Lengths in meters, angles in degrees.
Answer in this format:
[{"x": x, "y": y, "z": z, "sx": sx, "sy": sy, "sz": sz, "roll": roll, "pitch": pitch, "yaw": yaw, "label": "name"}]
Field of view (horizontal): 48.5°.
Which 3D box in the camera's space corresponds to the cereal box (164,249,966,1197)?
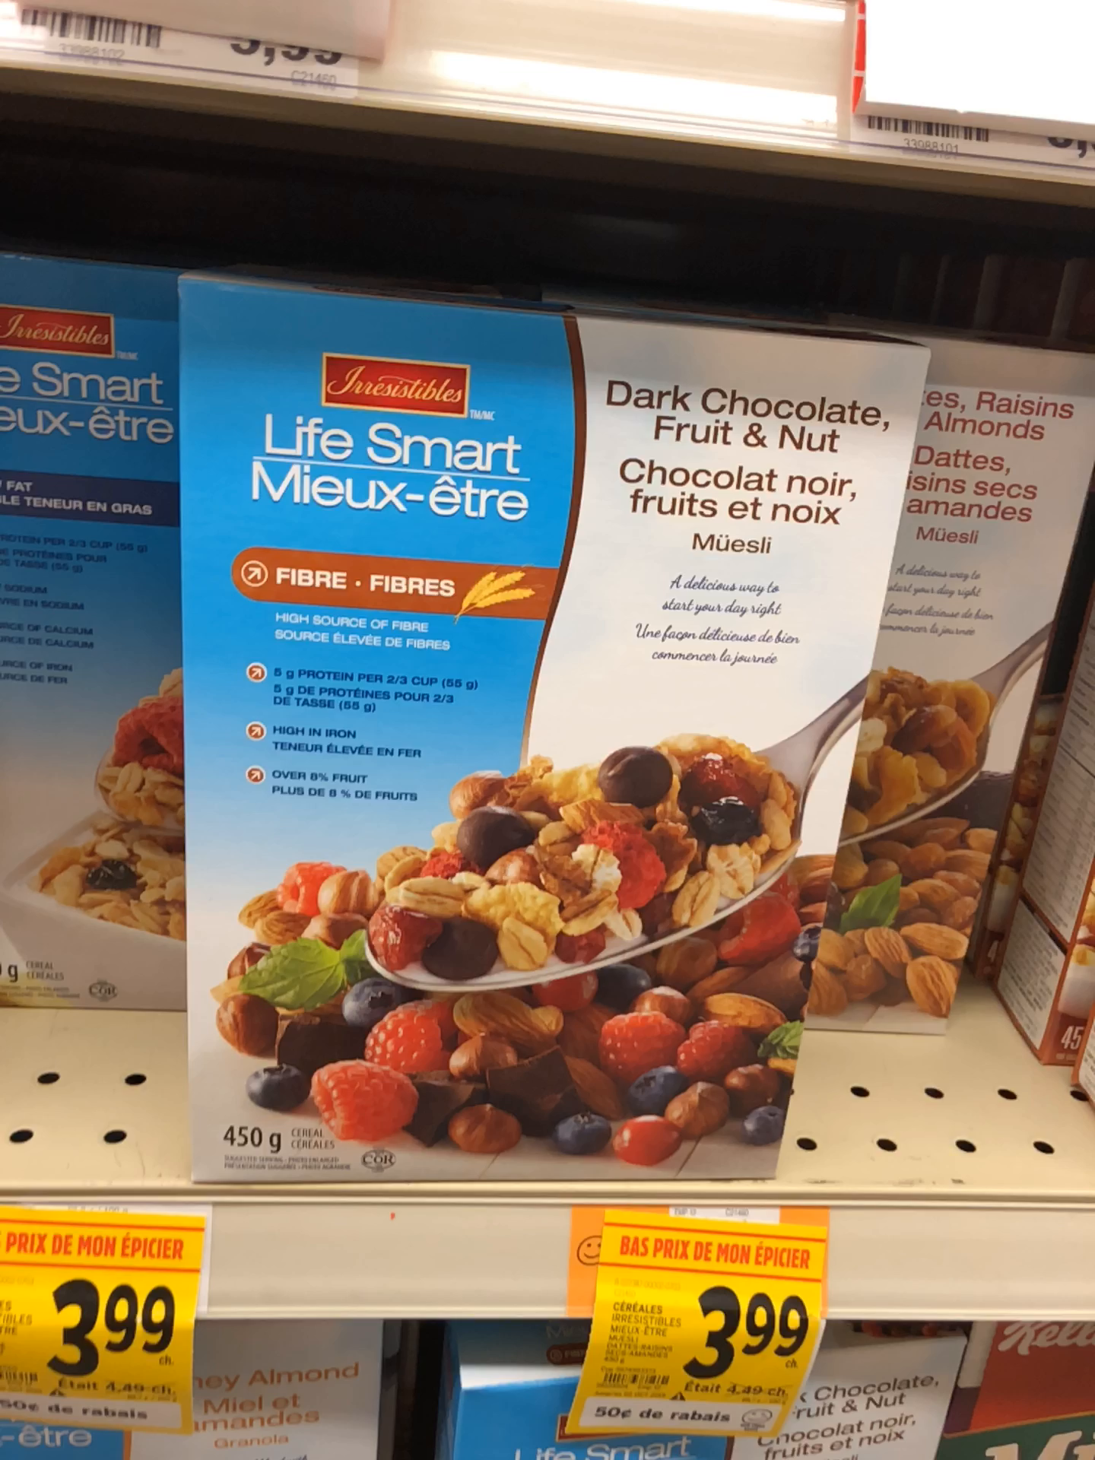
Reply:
[{"x": -0.006, "y": 0.009, "z": 0.320, "sx": 0.170, "sy": 0.238, "sz": 0.050, "roll": 3, "pitch": 21, "yaw": -7, "label": "cereal box"}]
